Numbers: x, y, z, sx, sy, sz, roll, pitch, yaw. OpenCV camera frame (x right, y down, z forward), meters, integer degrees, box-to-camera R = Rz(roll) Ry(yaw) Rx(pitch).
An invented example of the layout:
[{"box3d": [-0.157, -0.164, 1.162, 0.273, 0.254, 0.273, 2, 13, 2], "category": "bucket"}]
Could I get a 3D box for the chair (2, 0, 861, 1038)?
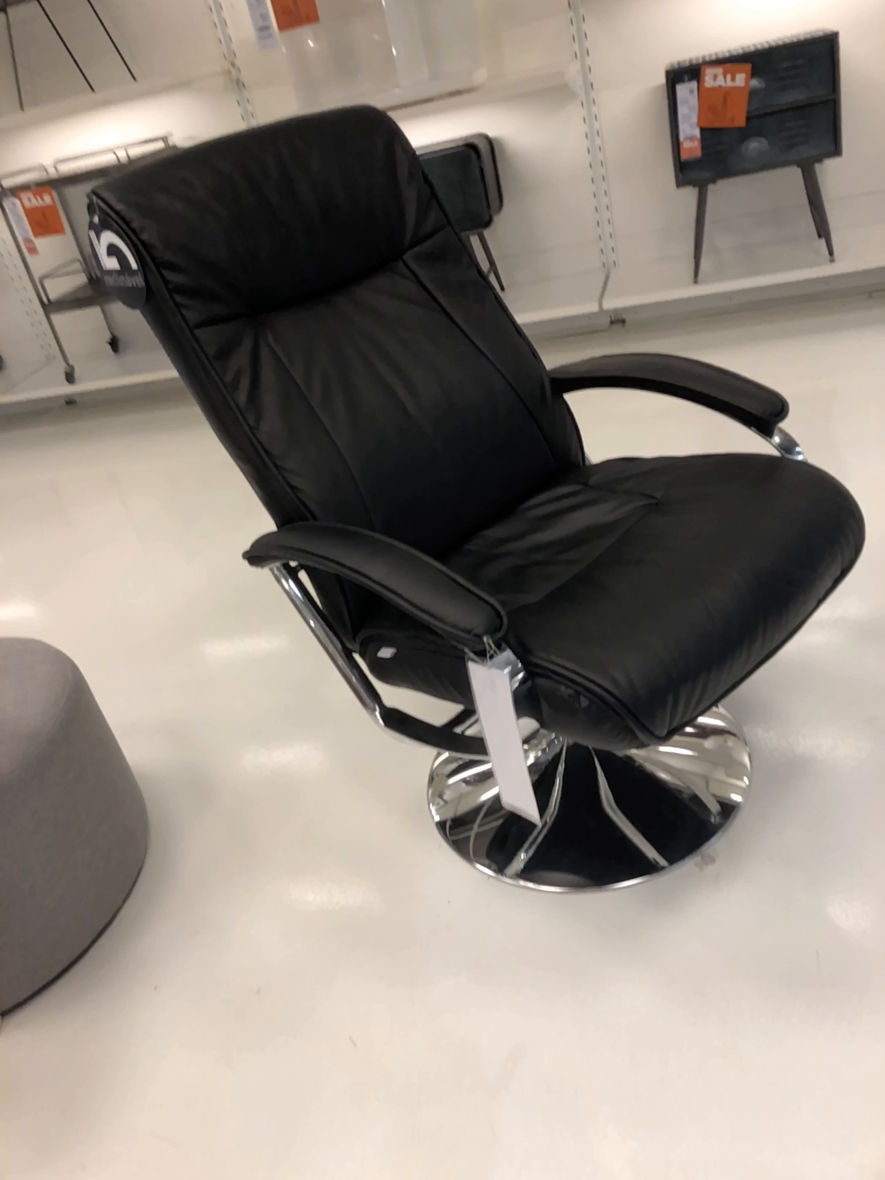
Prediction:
[{"box3d": [0.096, -0.165, 1.429, 0.722, 1.131, 0.753, 14, 39, 41], "category": "chair"}]
